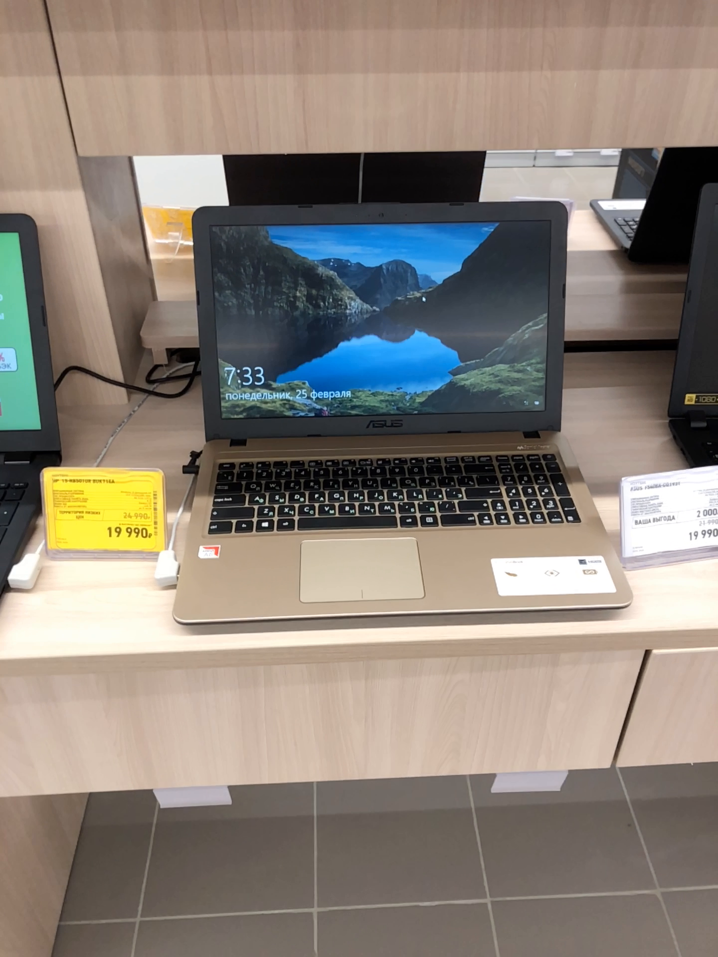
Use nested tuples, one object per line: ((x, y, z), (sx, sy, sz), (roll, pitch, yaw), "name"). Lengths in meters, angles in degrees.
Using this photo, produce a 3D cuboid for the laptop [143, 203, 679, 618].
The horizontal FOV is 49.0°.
((0.035, -0.087, 0.733), (0.366, 0.208, 0.351), (-2, 38, -3), "laptop")
